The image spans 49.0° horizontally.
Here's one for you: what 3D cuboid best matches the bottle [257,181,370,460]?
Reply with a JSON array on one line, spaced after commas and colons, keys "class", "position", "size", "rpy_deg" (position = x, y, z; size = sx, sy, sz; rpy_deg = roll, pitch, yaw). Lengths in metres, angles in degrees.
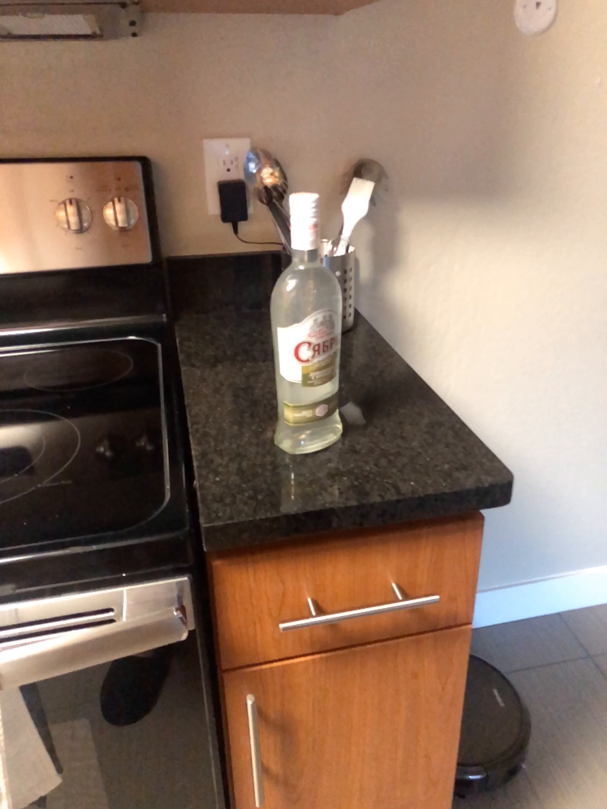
[{"class": "bottle", "position": [0.011, -0.085, 0.692], "size": [0.090, 0.269, 0.060], "rpy_deg": [-16, 29, -29]}]
